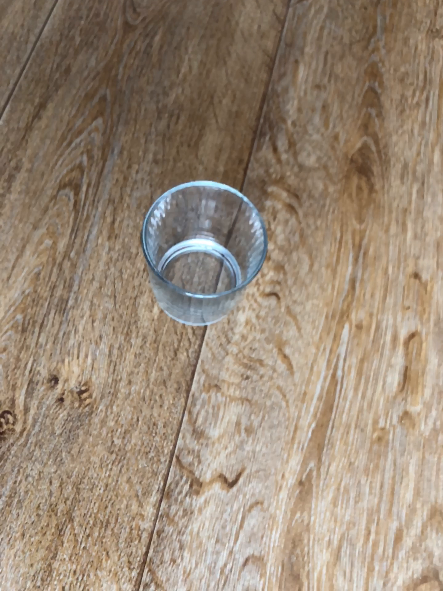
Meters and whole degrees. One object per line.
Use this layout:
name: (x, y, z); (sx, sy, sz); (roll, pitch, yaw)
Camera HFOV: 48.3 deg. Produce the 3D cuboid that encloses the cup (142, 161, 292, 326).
cup: (-0.008, -0.030, 0.320); (0.078, 0.080, 0.075); (2, 71, -6)
